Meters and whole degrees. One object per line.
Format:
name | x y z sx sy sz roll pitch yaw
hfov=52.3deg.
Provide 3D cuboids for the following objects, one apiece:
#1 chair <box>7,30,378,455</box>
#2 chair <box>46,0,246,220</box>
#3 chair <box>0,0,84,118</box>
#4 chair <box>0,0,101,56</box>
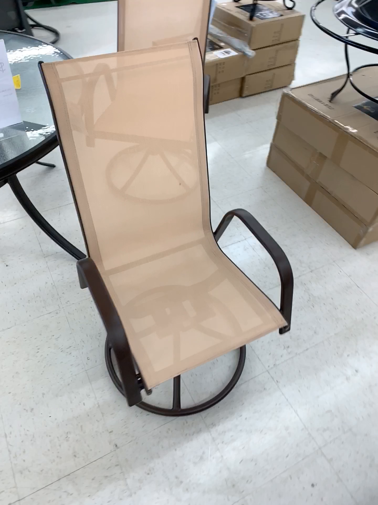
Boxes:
chair | -0.046 0.003 1.179 0.568 0.957 0.710 -20 53 -20
chair | -0.143 -0.798 1.853 0.568 0.957 0.710 14 49 8
chair | -1.141 -1.448 2.256 0.709 0.917 0.569 35 55 24
chair | -1.109 -2.007 2.678 0.707 0.917 0.570 -22 54 -22
